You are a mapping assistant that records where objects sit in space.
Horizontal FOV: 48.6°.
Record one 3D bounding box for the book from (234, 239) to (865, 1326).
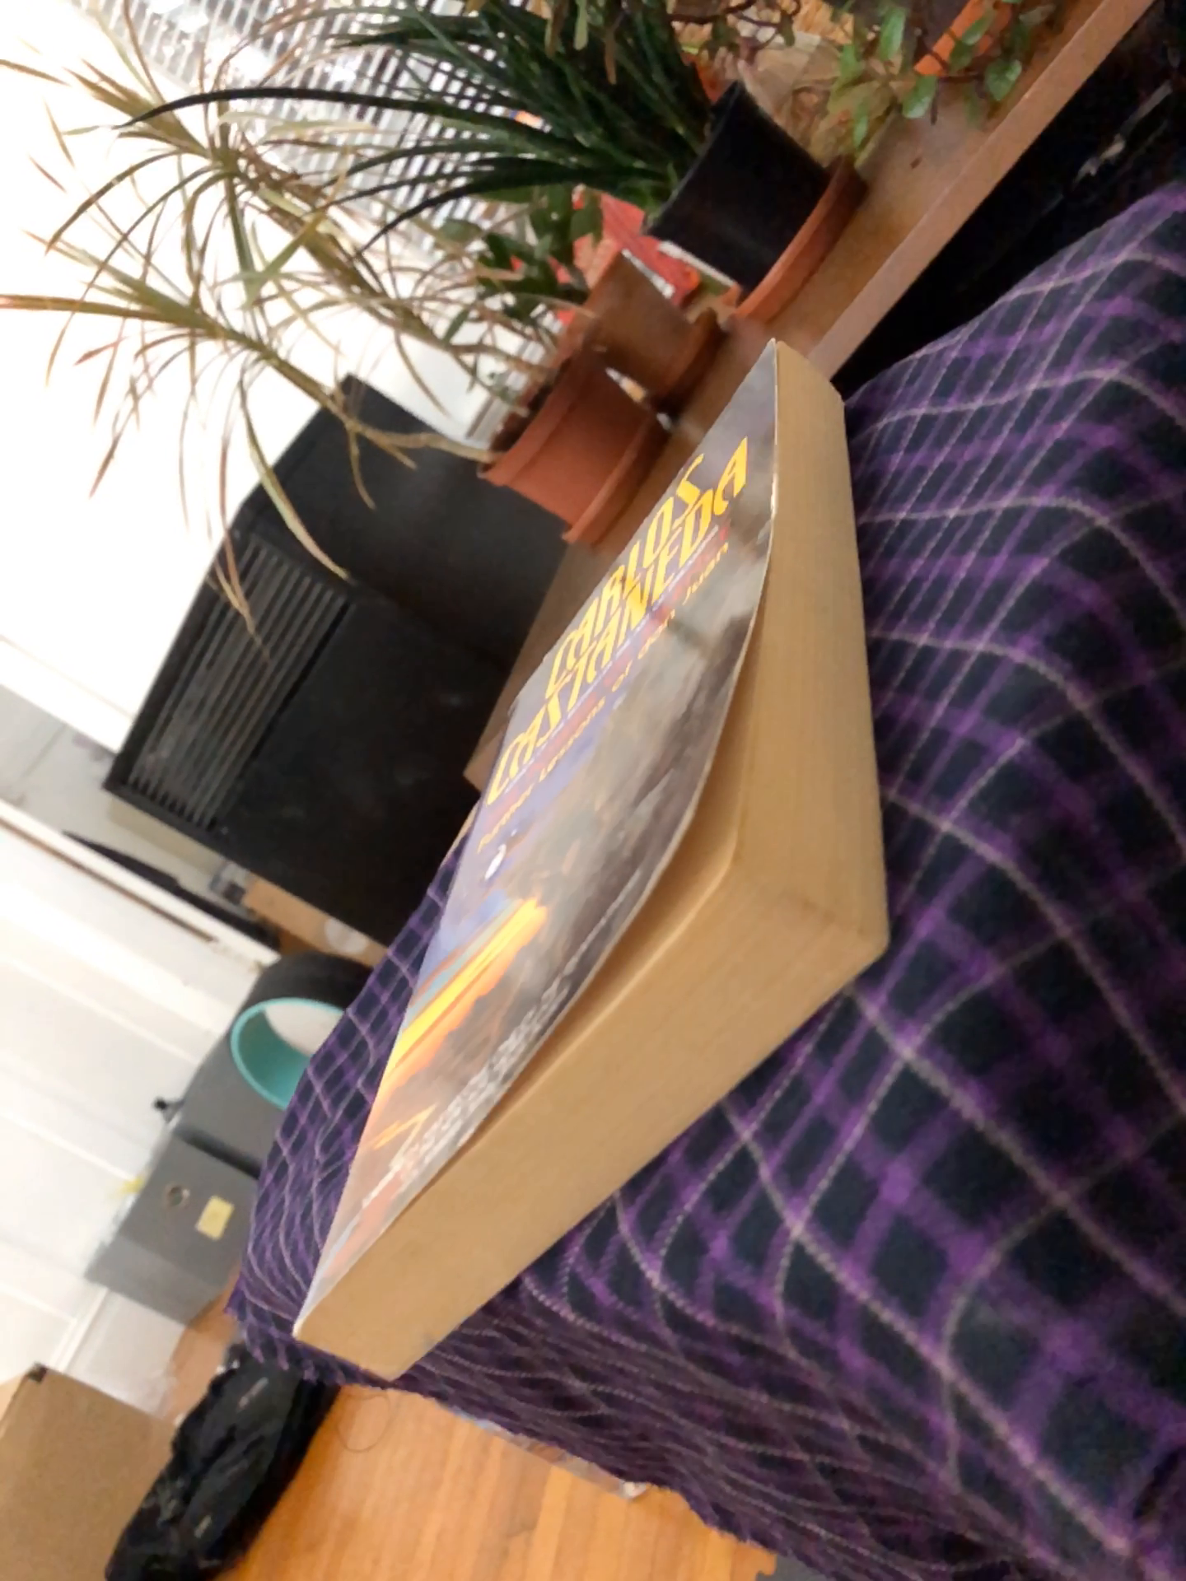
[{"bbox_3d":[-0.001,-0.020,0.284,0.150,0.020,0.221,-50,16,34],"label":"book"}]
